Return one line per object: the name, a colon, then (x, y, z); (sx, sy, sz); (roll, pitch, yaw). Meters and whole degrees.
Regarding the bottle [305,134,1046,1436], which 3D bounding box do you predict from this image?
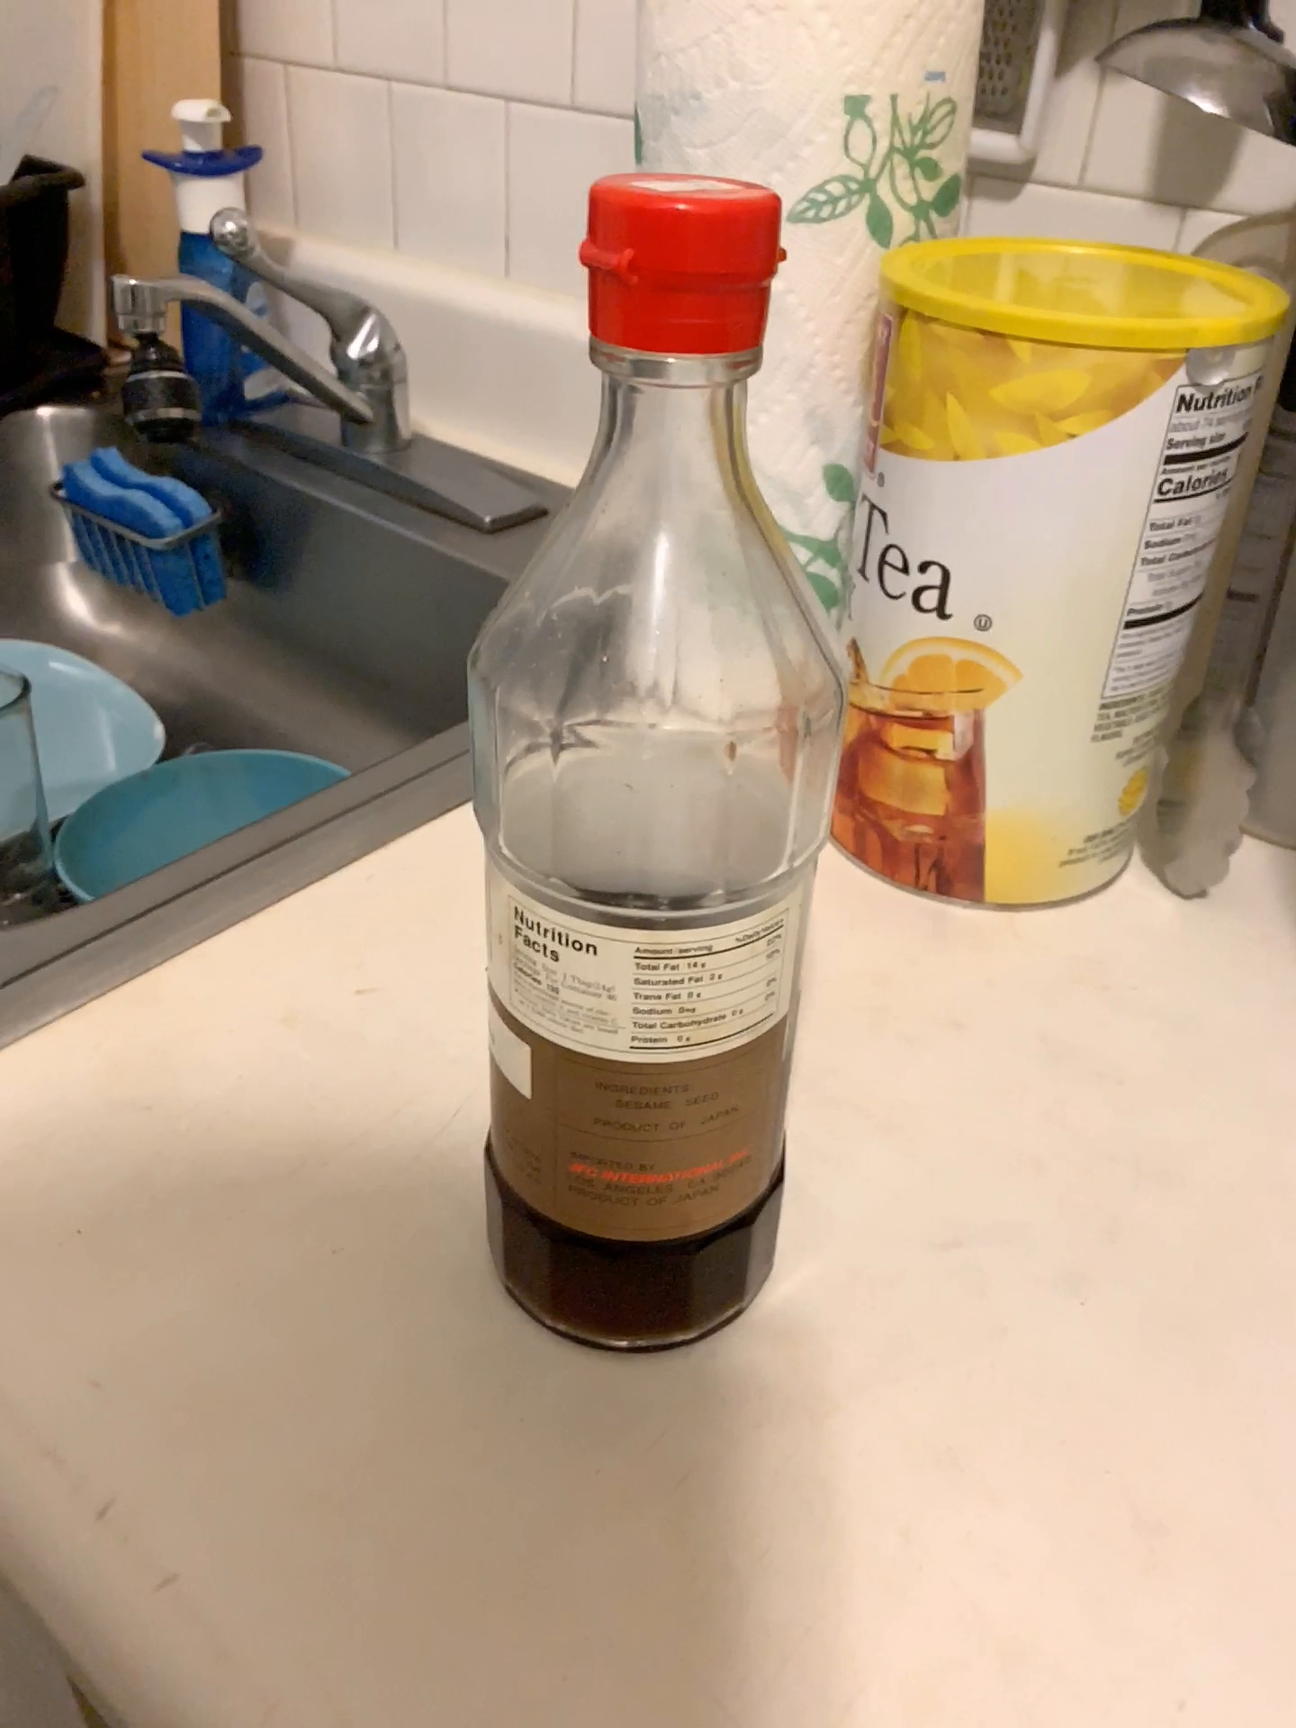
bottle: (0.002, -0.006, 0.296); (0.090, 0.259, 0.090); (3, 35, -2)
